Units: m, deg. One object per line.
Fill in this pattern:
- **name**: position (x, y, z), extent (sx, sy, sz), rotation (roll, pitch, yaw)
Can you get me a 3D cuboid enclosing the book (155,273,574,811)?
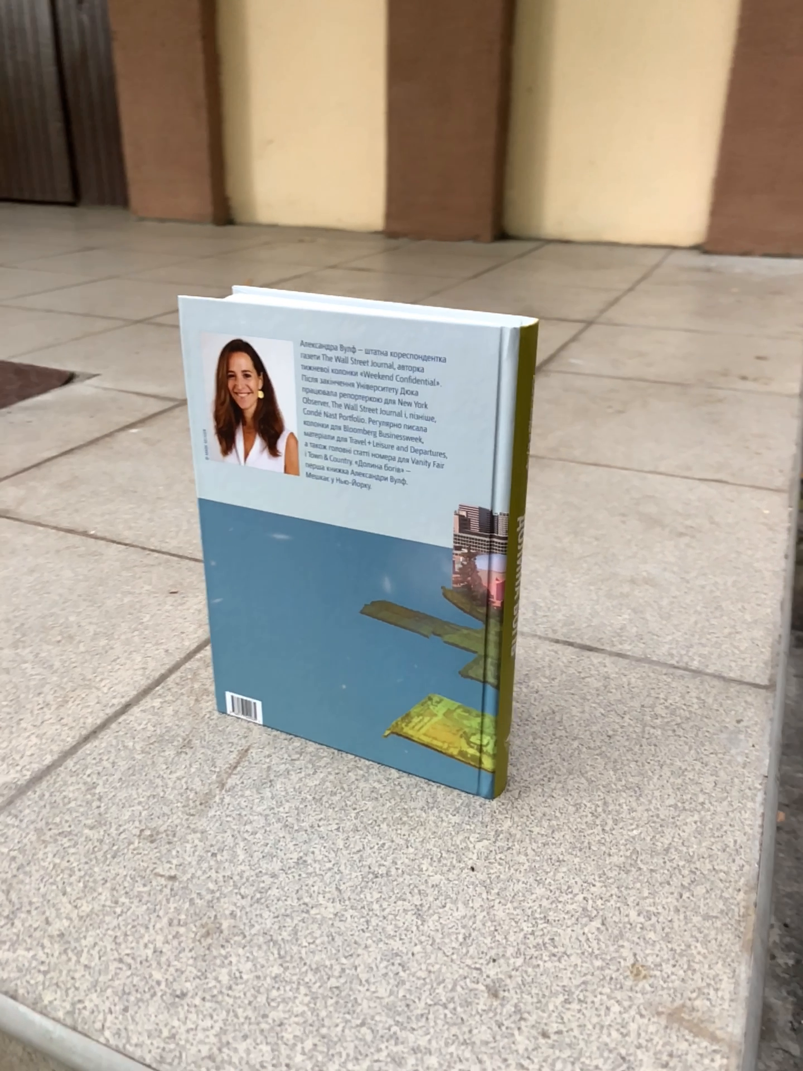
- **book**: position (-0.017, 0.001, 0.387), extent (0.160, 0.208, 0.045), rotation (12, 28, 23)
